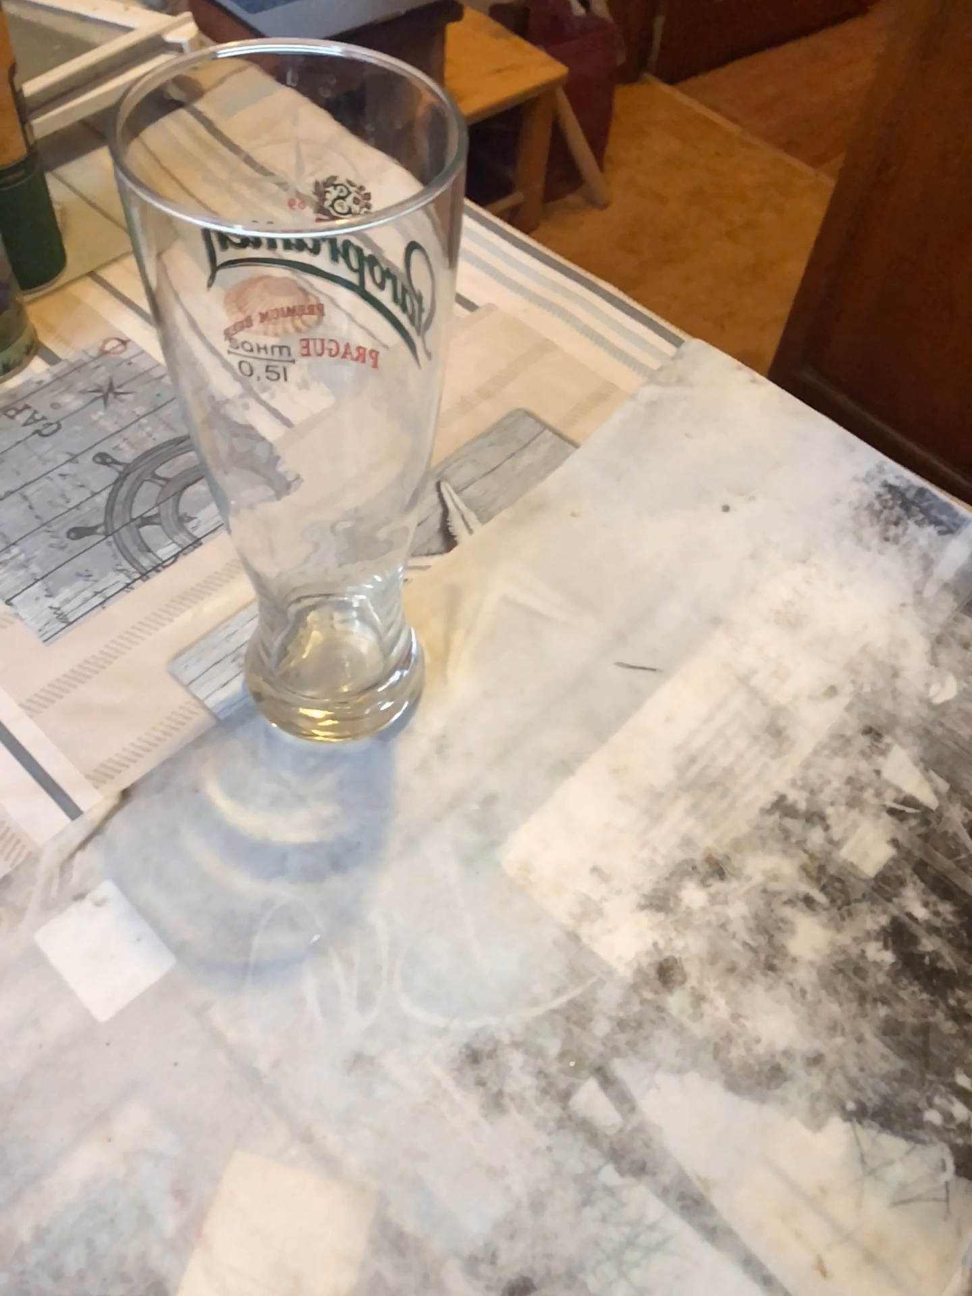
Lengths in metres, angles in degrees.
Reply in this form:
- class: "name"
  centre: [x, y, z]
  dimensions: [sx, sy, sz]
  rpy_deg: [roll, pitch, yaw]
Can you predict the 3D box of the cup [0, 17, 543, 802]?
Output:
- class: "cup"
  centre: [-0.051, -0.055, 0.318]
  dimensions: [0.088, 0.192, 0.099]
  rpy_deg: [18, 55, 8]
